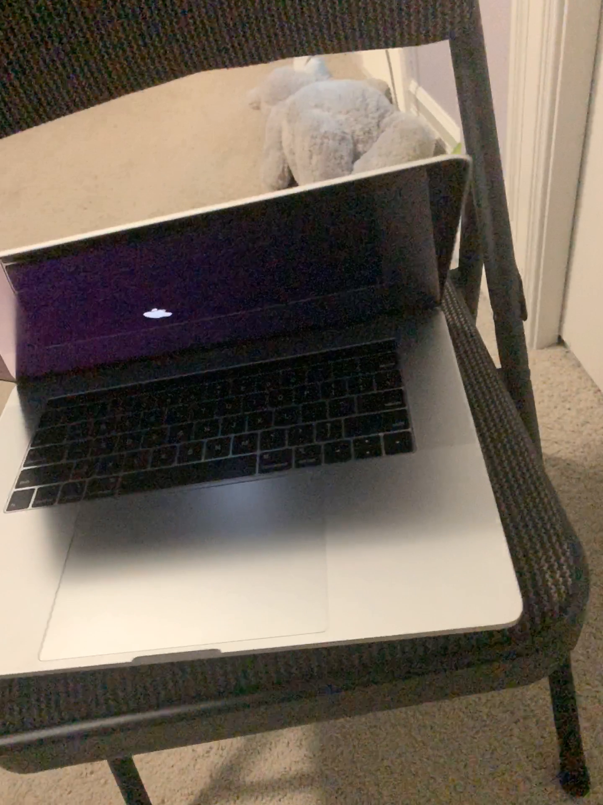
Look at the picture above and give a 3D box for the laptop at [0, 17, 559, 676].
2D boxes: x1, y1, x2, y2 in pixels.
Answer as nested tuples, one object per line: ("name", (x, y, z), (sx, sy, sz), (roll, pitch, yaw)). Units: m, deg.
("laptop", (-0.080, -0.020, 0.325), (0.334, 0.189, 0.232), (-10, 47, 10))
